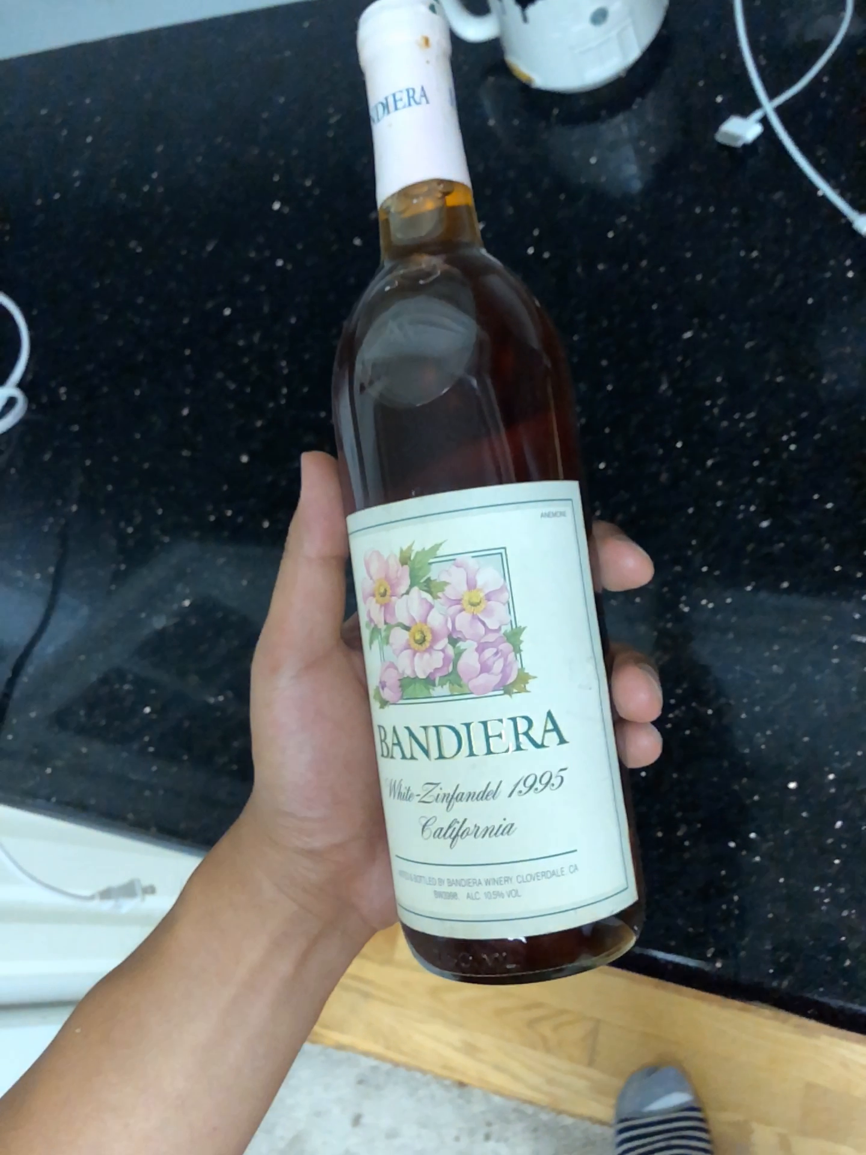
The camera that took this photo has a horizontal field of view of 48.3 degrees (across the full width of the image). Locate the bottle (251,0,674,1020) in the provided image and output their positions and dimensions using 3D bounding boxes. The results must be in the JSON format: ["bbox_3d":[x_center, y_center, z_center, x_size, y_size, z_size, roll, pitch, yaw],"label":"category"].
[{"bbox_3d":[0.011,-0.032,0.300,0.080,0.070,0.300,-7,87,21],"label":"bottle"}]
